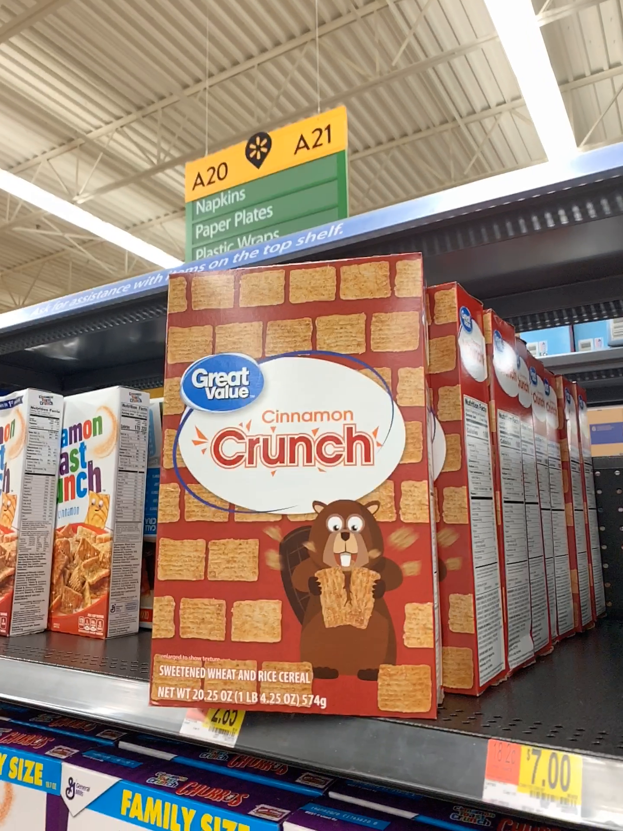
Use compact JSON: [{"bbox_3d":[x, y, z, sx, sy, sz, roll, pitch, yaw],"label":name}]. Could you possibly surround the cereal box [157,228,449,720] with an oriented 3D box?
[{"bbox_3d":[-0.003,0.035,0.478,0.190,0.331,0.070,-1,-11,8],"label":"cereal box"}]
